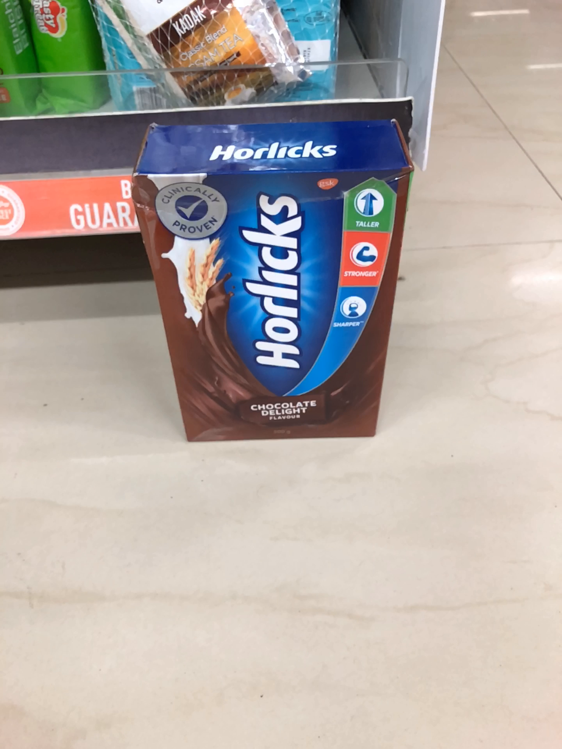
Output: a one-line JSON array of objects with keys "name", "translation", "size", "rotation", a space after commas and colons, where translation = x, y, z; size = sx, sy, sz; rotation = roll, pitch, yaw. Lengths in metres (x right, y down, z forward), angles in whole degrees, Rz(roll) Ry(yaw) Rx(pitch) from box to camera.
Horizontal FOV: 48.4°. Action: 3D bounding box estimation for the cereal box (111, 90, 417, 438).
[{"name": "cereal box", "translation": [-0.006, -0.053, 0.382], "size": [0.140, 0.209, 0.060], "rotation": [-2, 46, 0]}]
